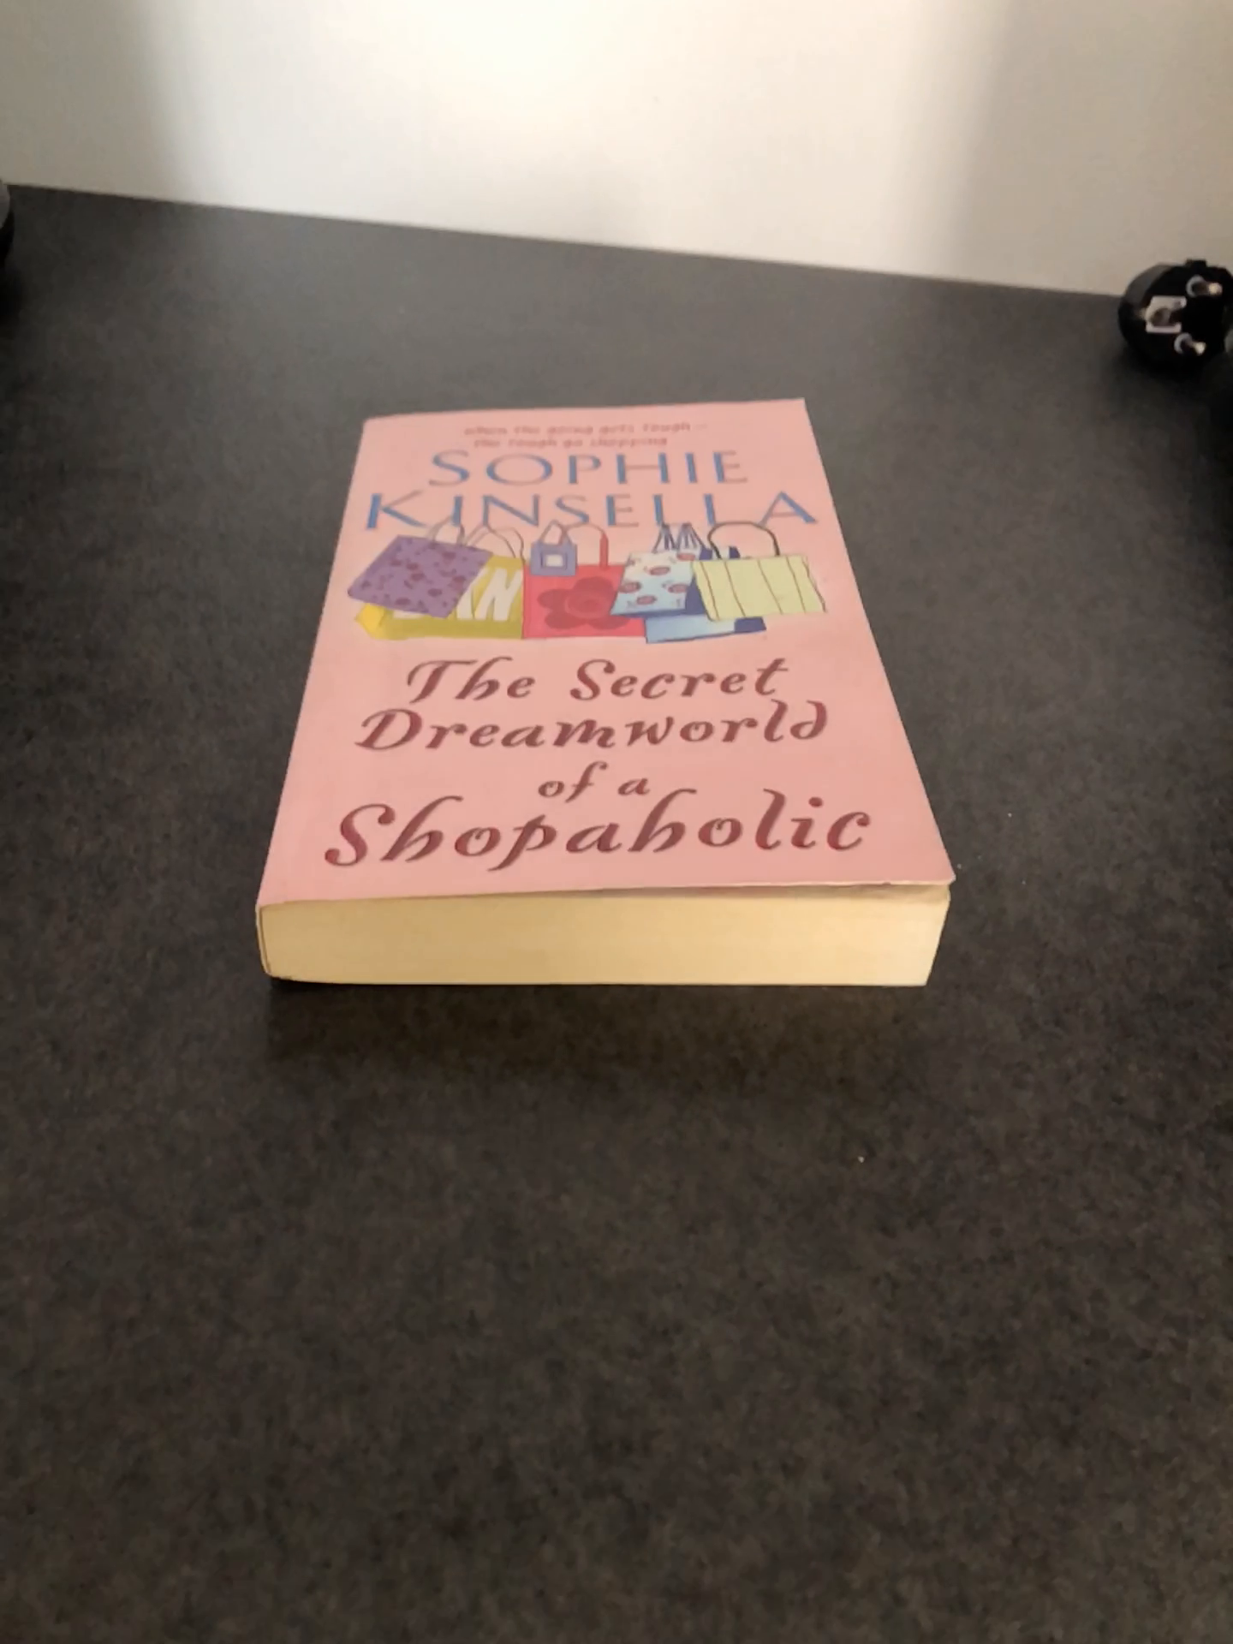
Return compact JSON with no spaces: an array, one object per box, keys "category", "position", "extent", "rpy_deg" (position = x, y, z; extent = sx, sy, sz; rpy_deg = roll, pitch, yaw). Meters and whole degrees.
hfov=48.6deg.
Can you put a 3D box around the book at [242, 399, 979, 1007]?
[{"category":"book","position":[-0.005,-0.043,0.326],"extent":[0.130,0.030,0.201],"rpy_deg":[0,41,-3]}]
